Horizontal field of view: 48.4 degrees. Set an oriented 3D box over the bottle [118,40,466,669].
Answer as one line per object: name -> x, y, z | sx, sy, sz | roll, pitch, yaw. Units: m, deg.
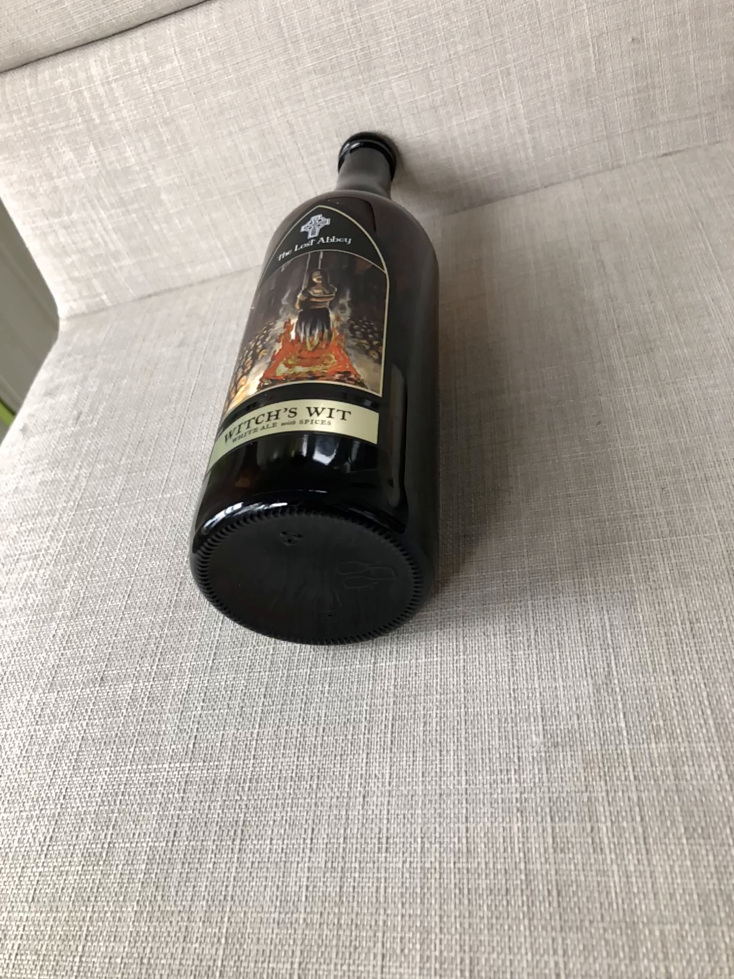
bottle -> -0.012, -0.076, 0.336 | 0.080, 0.079, 0.282 | -10, 47, 16
